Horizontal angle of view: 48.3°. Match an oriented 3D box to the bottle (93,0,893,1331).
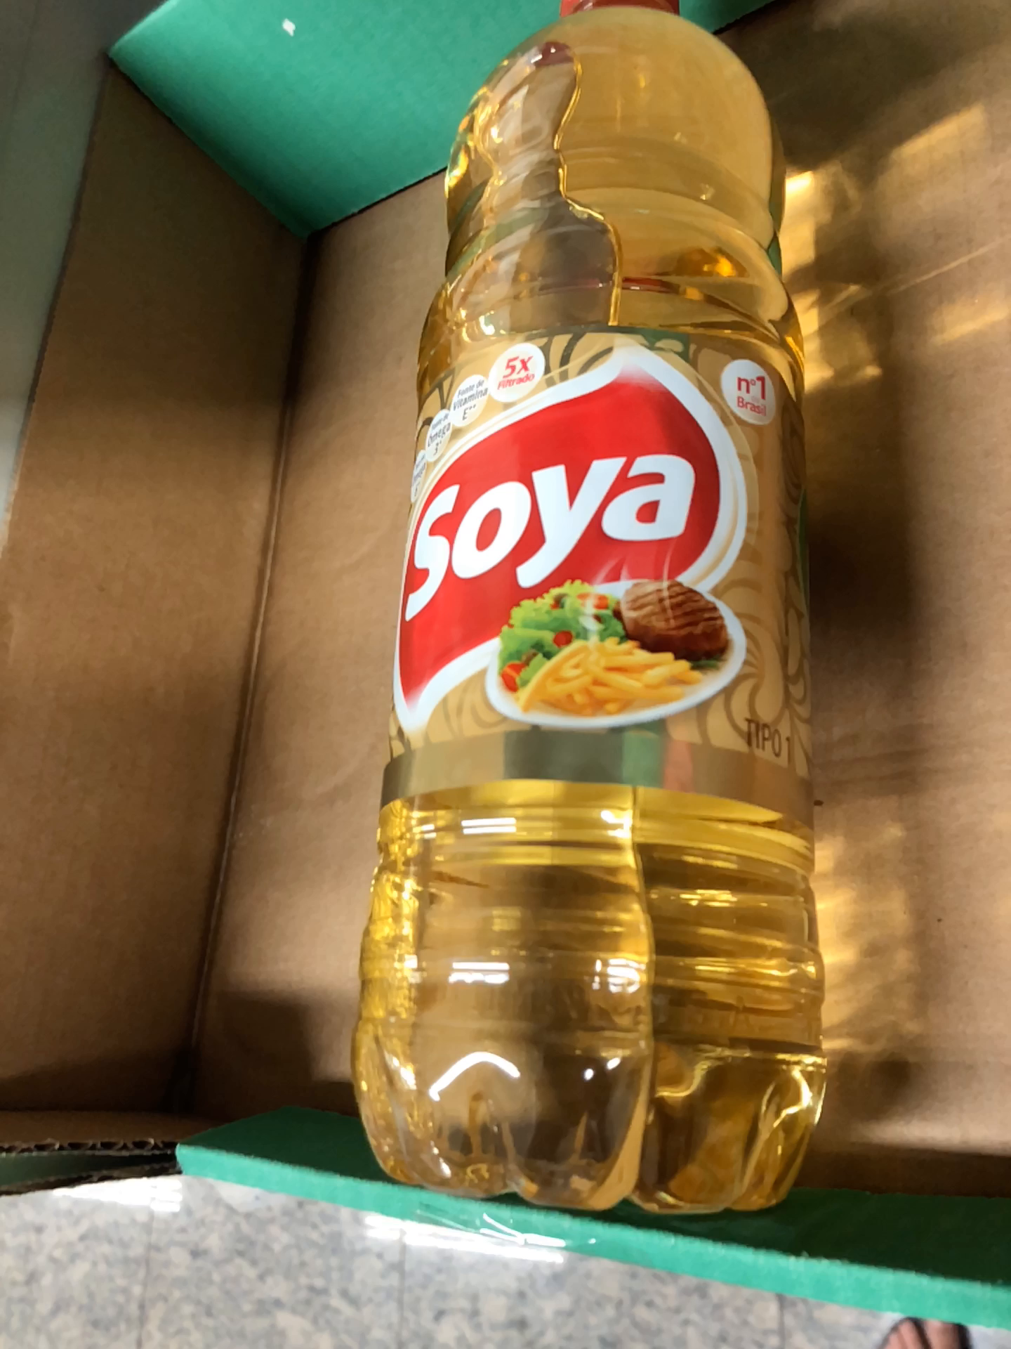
[{"bbox_3d":[0.006,-0.029,0.179,0.080,0.070,0.210,-8,70,33],"label":"bottle"}]
